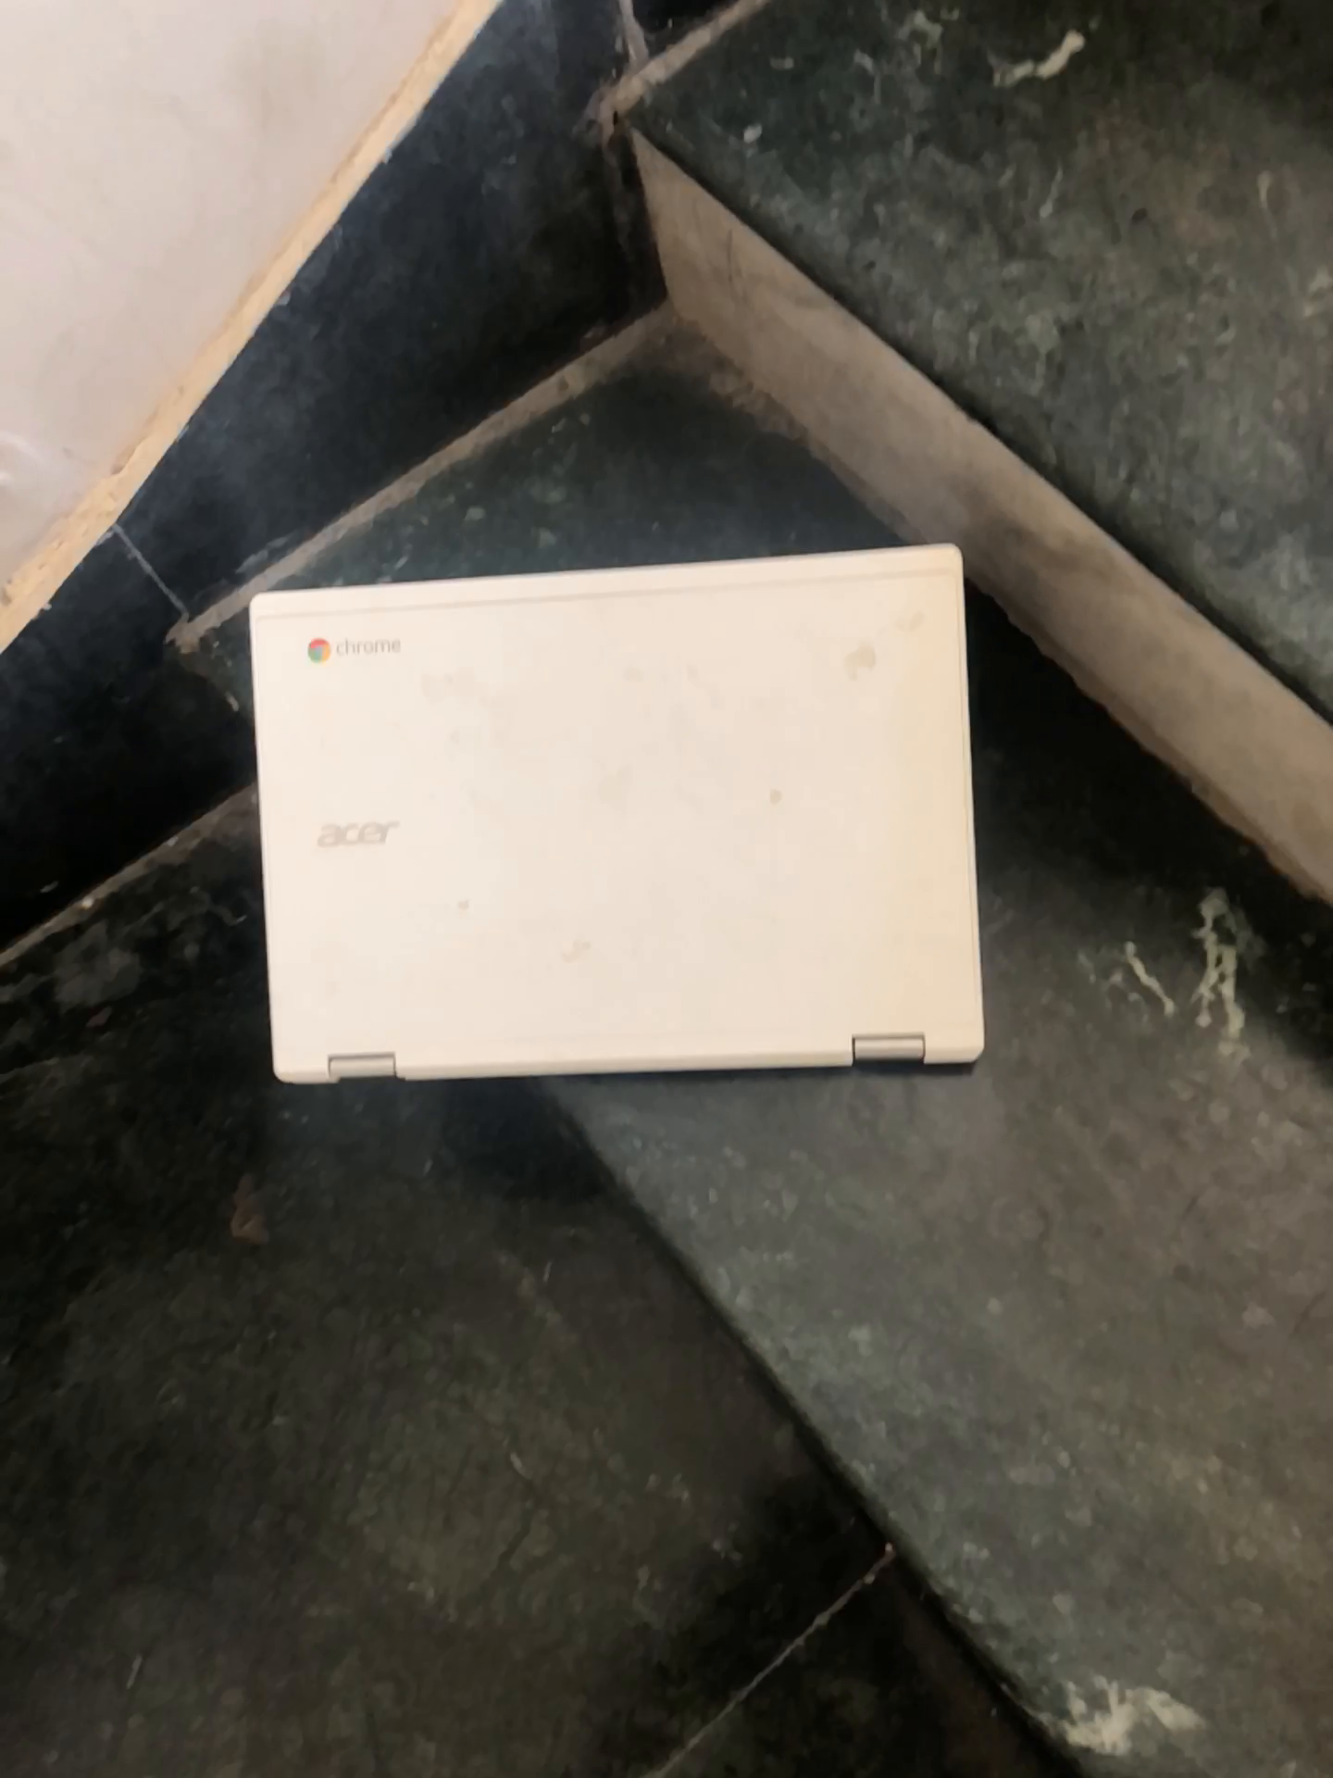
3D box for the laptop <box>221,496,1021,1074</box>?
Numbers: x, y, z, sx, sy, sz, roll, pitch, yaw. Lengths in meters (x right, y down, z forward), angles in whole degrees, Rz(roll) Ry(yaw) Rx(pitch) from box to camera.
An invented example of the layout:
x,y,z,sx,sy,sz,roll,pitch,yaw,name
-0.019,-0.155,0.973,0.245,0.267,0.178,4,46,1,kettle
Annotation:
x,y,z,sx,sy,sz,roll,pitch,yaw,name
-0.018,-0.037,0.586,0.282,0.091,0.190,-3,71,5,laptop
